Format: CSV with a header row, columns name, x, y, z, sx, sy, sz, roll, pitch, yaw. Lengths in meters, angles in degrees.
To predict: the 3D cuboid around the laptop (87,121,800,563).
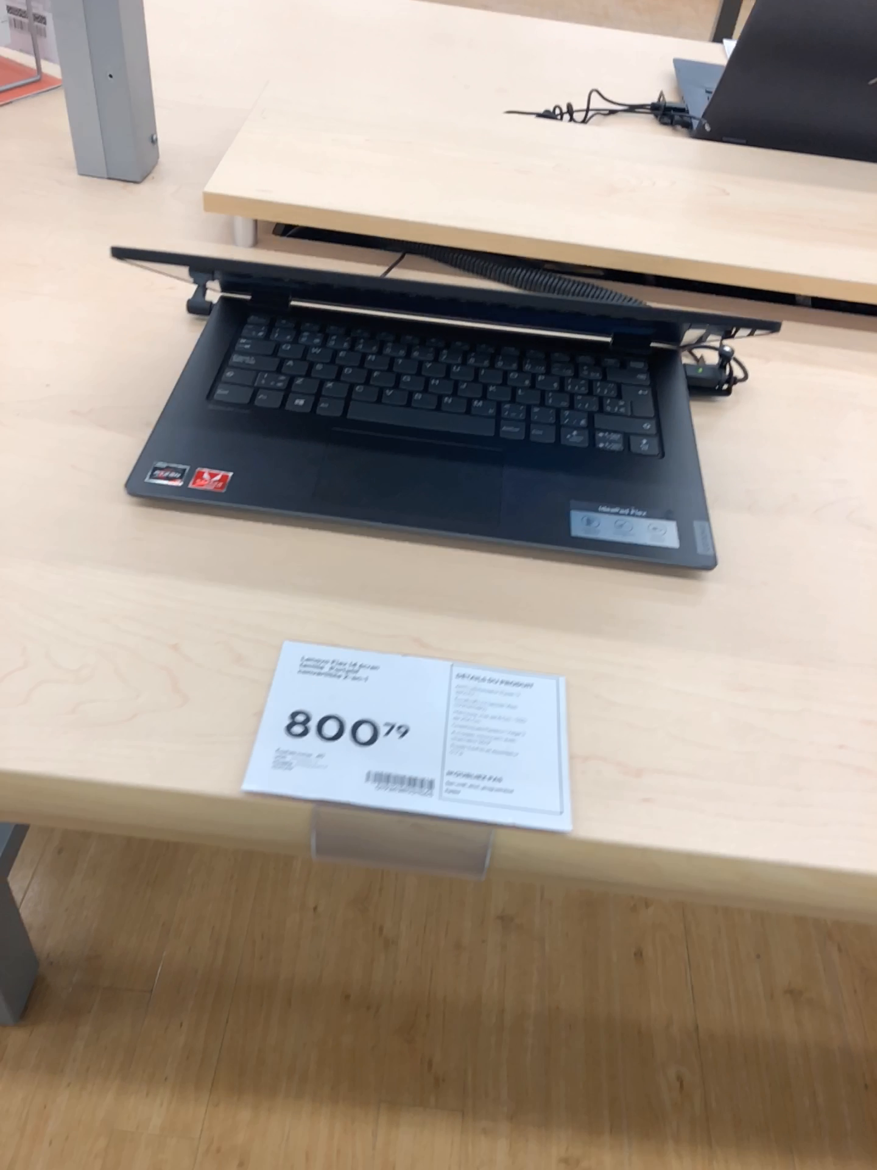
name,x,y,z,sx,sy,sz,roll,pitch,yaw
laptop,0.008,-0.153,0.568,0.331,0.121,0.229,7,44,-1
